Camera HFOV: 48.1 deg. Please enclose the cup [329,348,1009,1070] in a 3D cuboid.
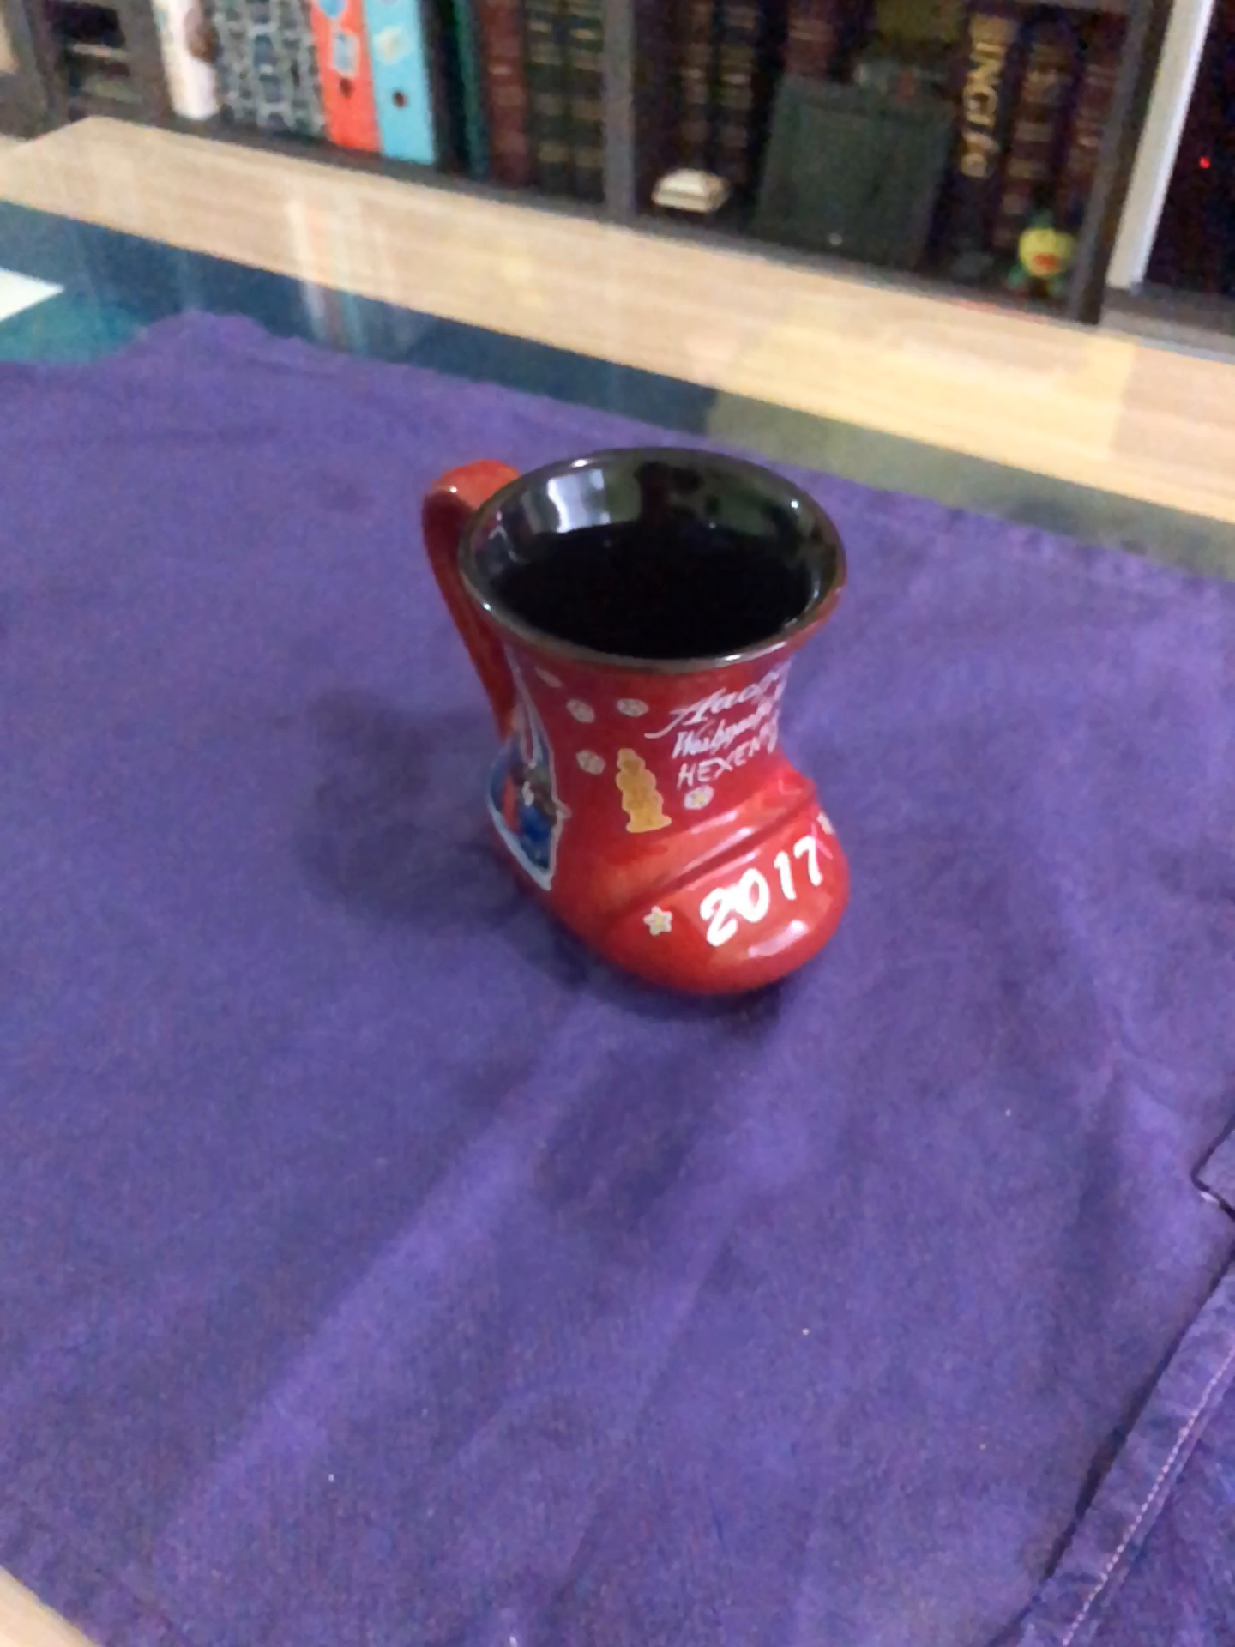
[{"bbox_3d":[0.007,-0.029,0.301,0.070,0.090,0.120,-31,52,-27],"label":"cup"}]
